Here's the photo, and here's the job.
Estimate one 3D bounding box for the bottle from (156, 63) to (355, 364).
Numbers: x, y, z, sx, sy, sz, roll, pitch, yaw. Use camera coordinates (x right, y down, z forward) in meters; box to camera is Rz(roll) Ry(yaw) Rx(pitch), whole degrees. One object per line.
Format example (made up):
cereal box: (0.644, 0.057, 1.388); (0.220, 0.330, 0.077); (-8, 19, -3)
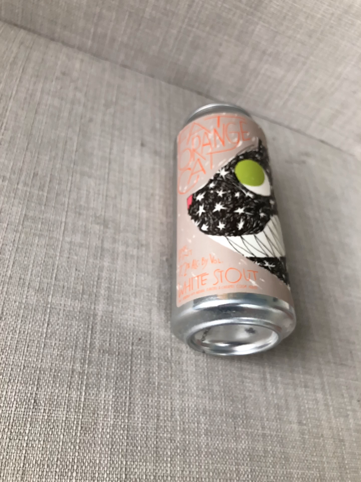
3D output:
bottle: (0.034, -0.015, 0.240); (0.070, 0.069, 0.151); (14, 57, -22)
